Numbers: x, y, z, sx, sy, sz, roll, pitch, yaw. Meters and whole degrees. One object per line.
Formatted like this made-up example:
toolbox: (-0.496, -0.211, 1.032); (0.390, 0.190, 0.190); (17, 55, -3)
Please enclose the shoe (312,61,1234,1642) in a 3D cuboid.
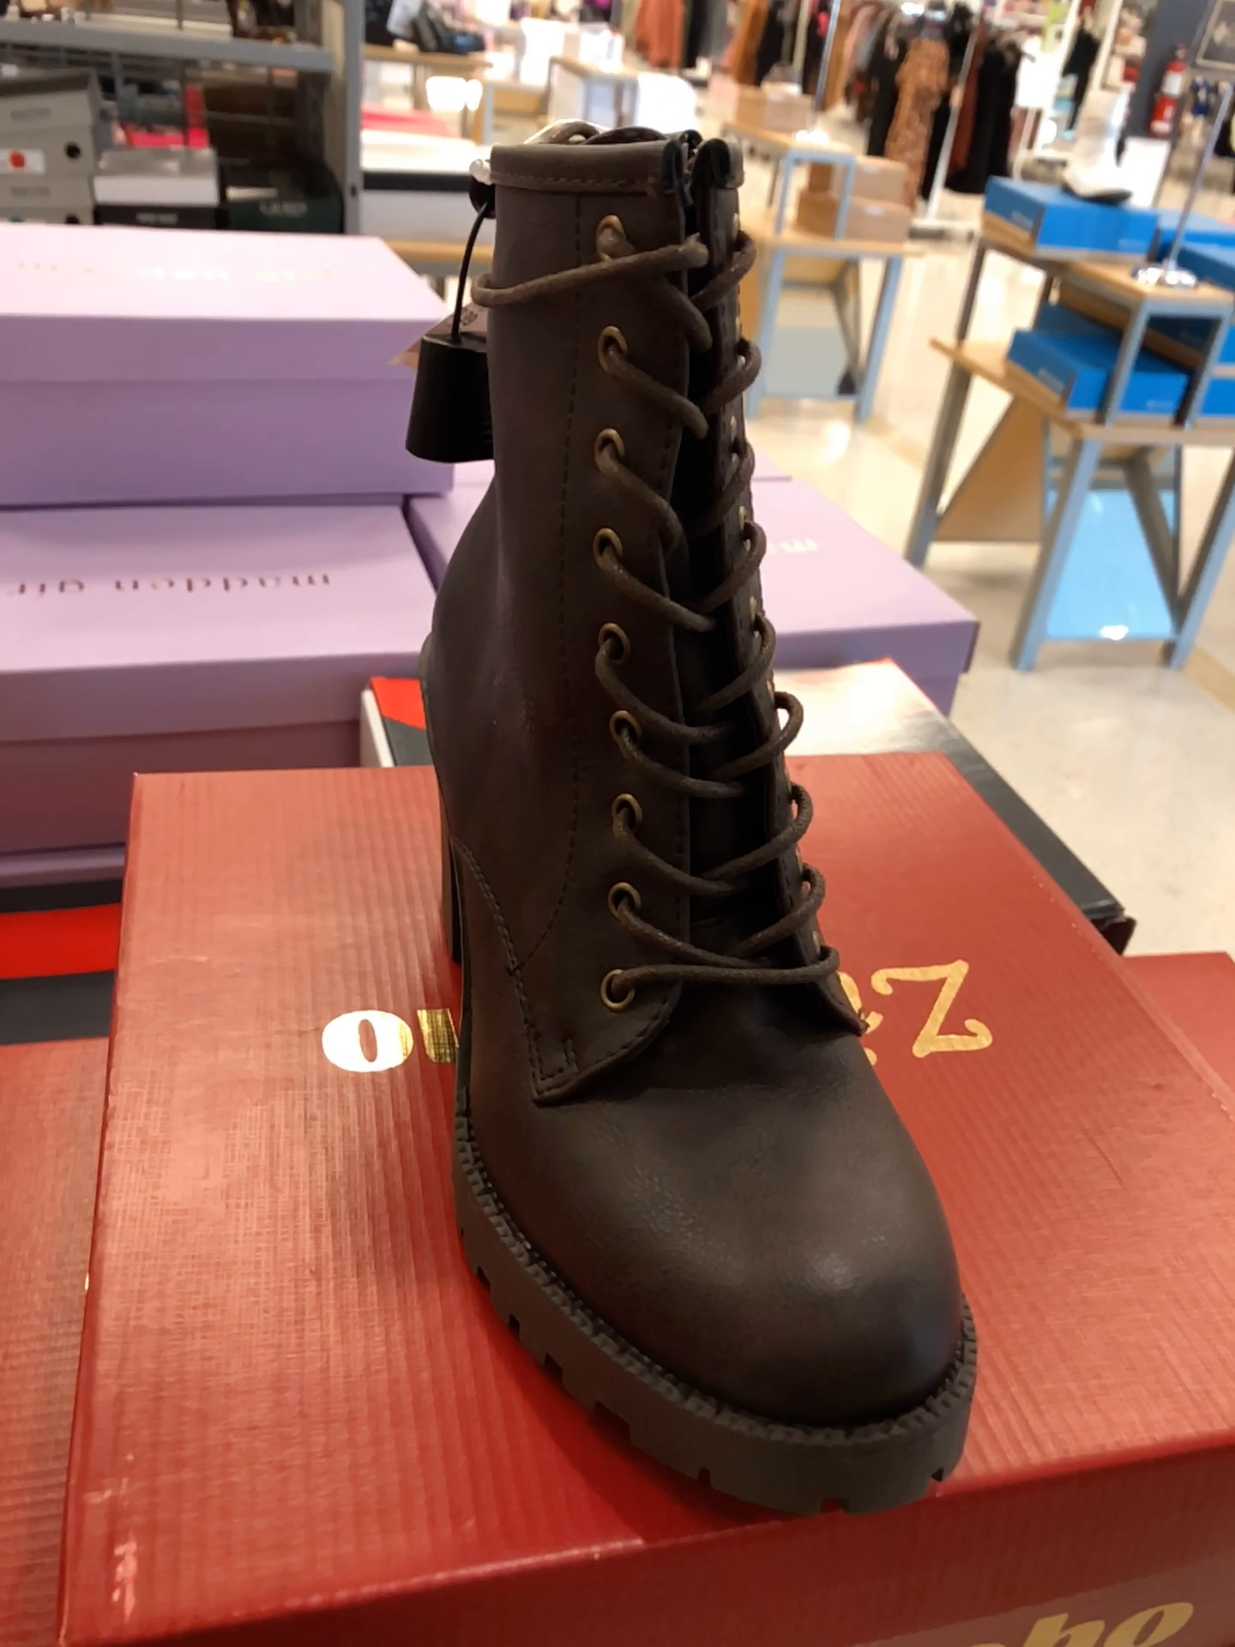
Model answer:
shoe: (0.006, -0.020, 0.290); (0.100, 0.218, 0.242); (-5, 34, -20)
